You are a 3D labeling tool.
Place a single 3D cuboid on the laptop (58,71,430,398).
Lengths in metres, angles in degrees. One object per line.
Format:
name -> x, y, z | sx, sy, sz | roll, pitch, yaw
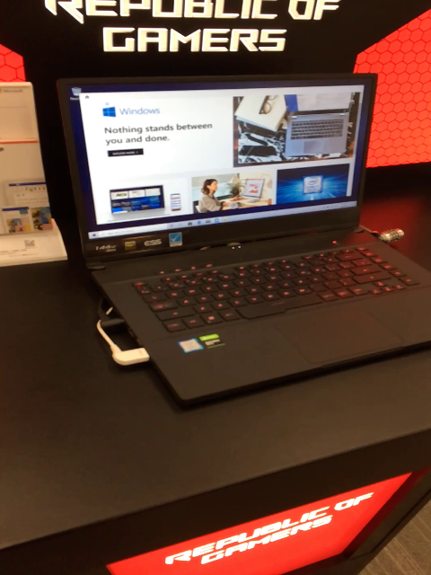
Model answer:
laptop -> 0.086, -0.088, 0.609 | 0.391, 0.211, 0.305 | -12, 39, -22
